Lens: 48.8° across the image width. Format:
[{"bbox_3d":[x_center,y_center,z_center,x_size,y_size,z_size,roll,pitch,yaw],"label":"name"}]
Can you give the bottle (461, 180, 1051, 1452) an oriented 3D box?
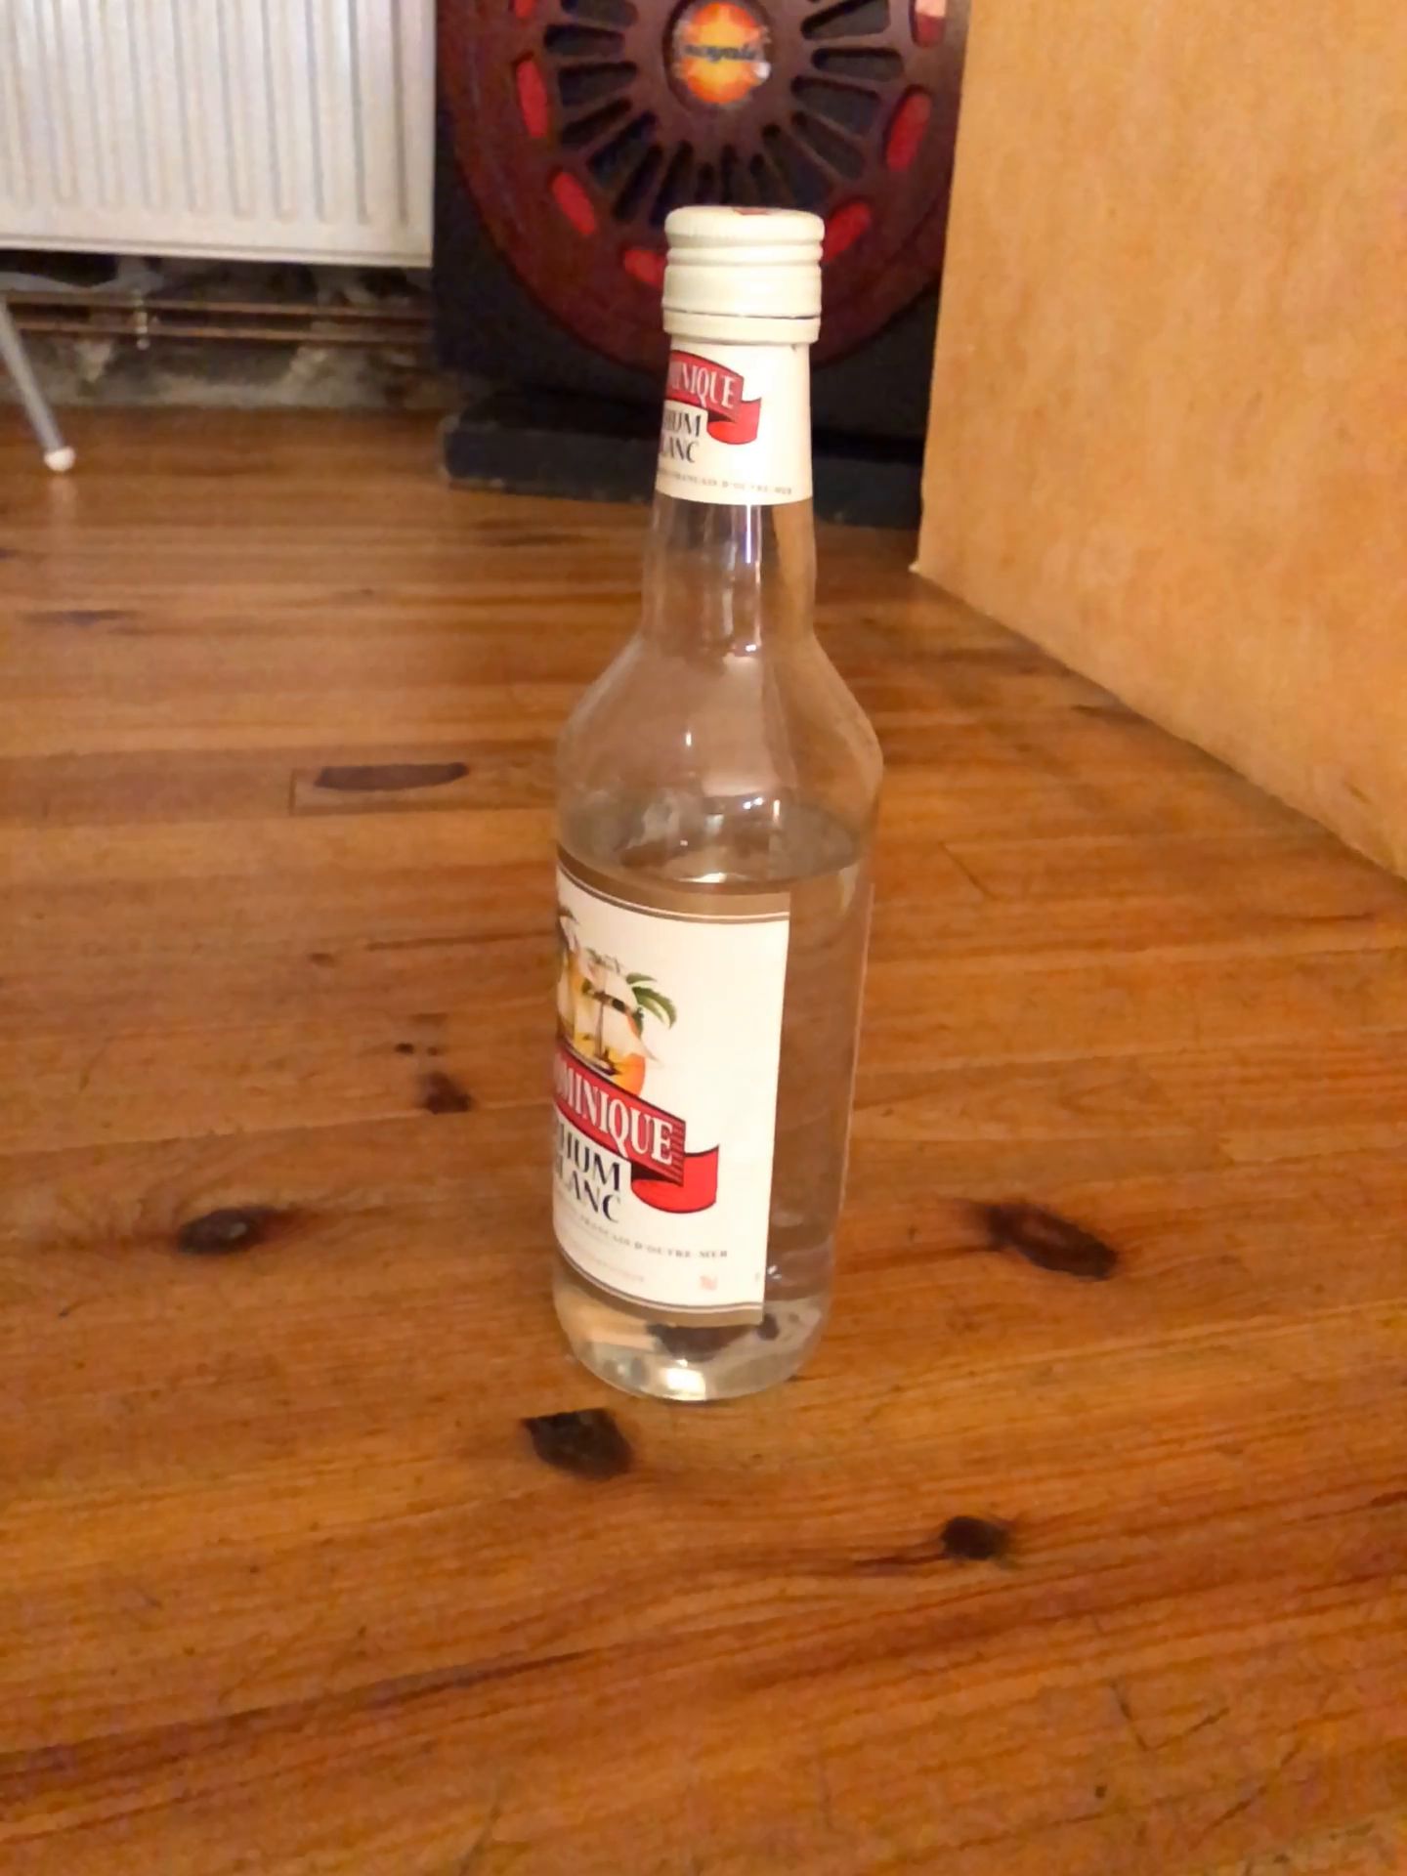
[{"bbox_3d":[0.002,-0.025,0.350,0.080,0.259,0.090,-10,27,-24],"label":"bottle"}]
